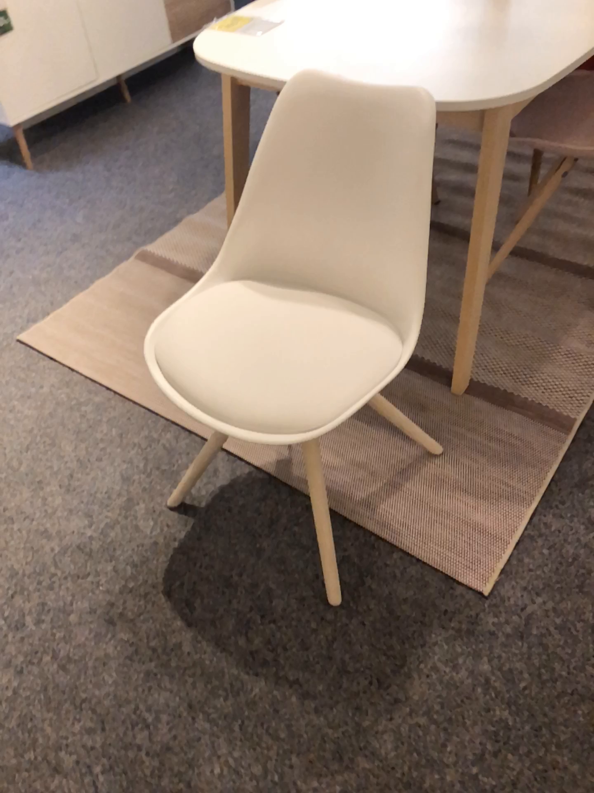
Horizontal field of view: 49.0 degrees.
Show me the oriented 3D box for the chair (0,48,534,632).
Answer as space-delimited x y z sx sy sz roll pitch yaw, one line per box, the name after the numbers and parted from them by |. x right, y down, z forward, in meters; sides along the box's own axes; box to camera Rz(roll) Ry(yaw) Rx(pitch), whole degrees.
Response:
-0.004 -0.114 1.221 0.550 0.756 0.593 24 52 27 | chair
